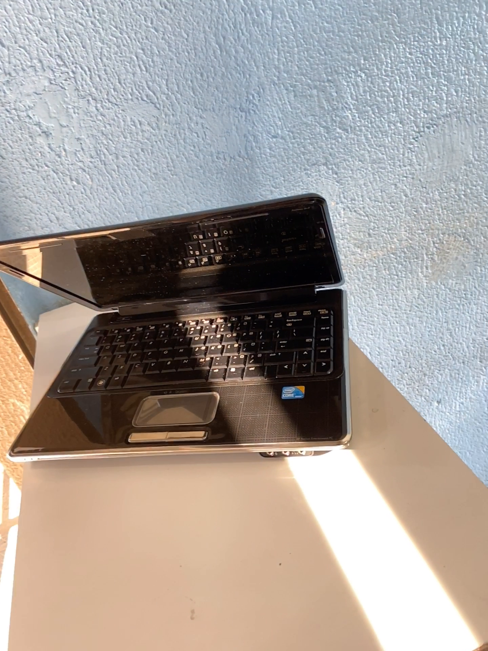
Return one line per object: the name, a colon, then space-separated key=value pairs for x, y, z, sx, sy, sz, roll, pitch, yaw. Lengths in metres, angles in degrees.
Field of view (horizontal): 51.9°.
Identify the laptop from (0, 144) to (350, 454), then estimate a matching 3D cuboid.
laptop: x=-0.073 y=-0.027 z=0.489 sx=0.325 sy=0.165 sz=0.226 roll=-5 pitch=35 yaw=15
